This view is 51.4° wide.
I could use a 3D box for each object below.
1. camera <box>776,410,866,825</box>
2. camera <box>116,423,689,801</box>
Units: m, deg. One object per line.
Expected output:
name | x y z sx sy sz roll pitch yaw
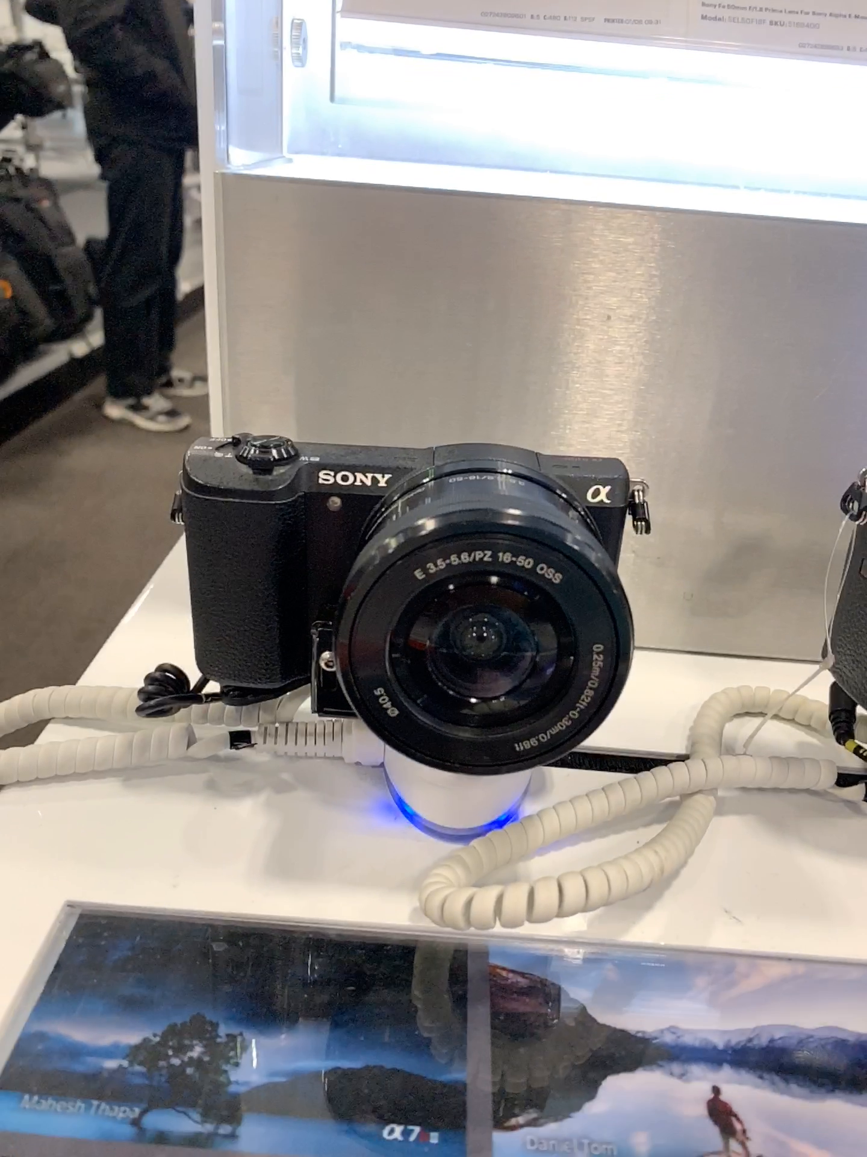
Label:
camera | 0.166 0.004 0.214 0.136 0.060 0.071 6 23 2
camera | -0.008 0.005 0.219 0.112 0.060 0.066 4 27 -2
